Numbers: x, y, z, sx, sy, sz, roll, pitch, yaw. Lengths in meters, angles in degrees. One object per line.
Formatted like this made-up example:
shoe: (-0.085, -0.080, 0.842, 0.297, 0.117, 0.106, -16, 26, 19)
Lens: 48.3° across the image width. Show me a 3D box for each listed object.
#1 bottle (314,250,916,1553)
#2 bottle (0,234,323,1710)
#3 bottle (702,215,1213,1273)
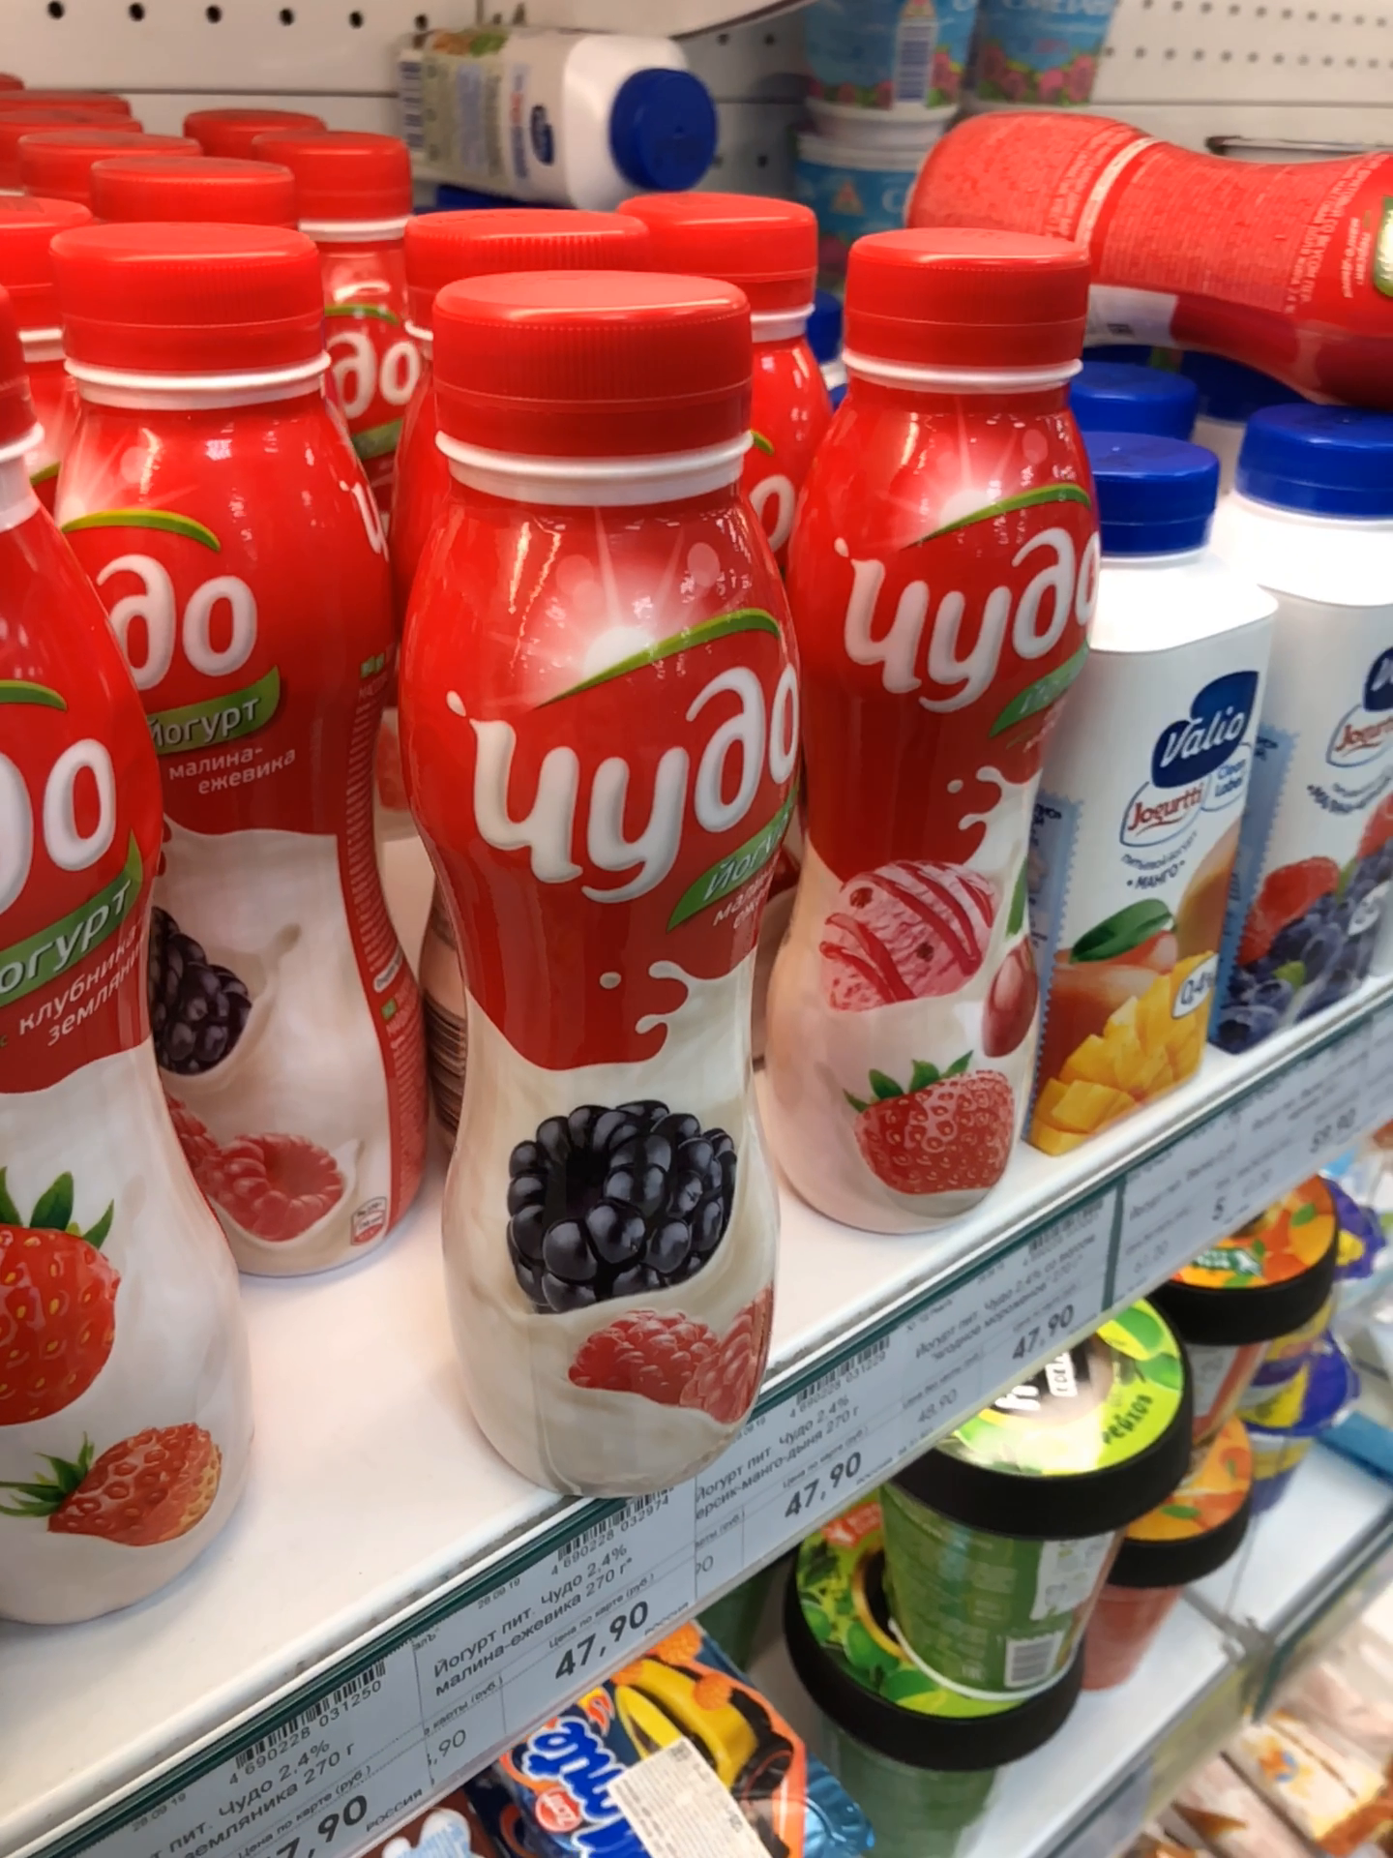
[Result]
bottle: (-0.014, 0.002, 0.230, 0.054, 0.181, 0.050, 2, 30, -1)
bottle: (-0.093, 0.012, 0.203, 0.054, 0.181, 0.050, 2, 30, -1)
bottle: (0.041, -0.030, 0.289, 0.054, 0.181, 0.050, 2, 30, -1)
